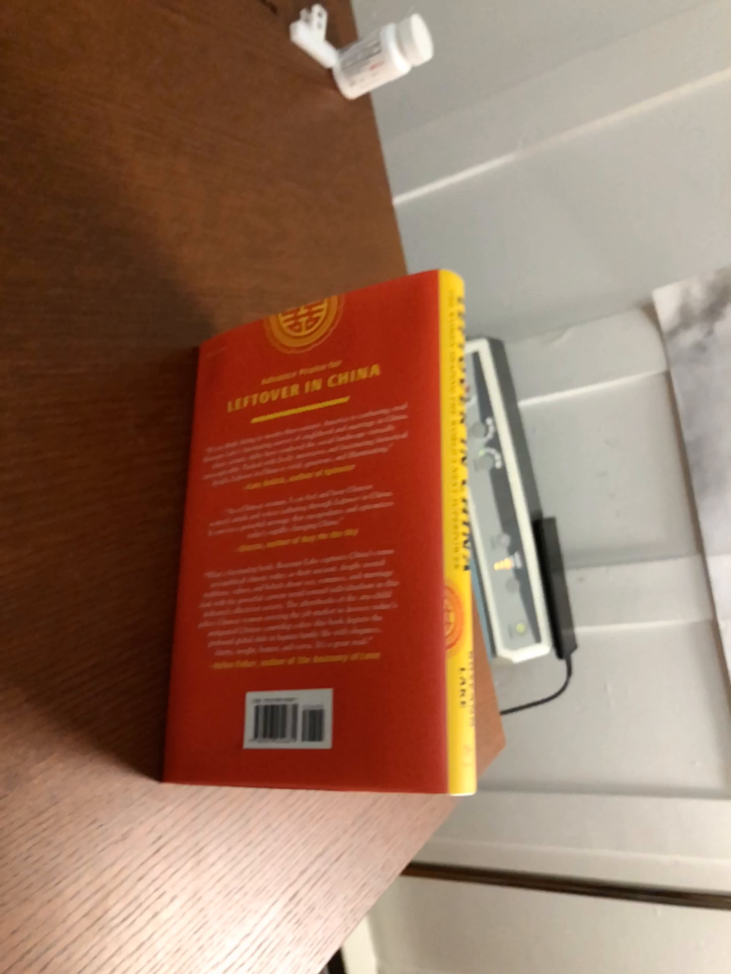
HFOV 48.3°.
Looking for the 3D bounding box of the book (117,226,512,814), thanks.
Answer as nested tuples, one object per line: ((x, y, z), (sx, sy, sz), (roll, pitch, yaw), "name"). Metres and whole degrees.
((-0.027, 0.021, 0.416), (0.060, 0.179, 0.260), (27, 58, -54), "book")
